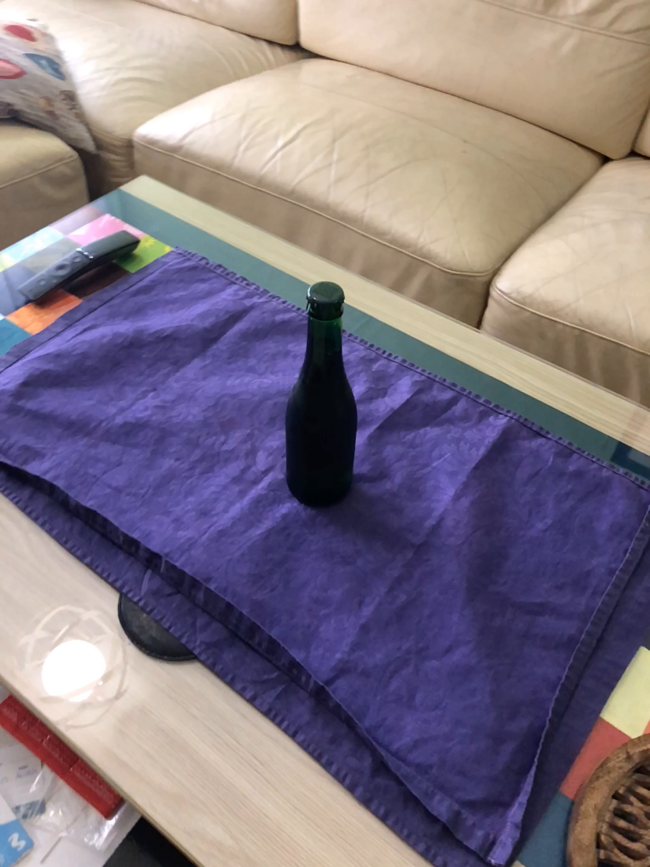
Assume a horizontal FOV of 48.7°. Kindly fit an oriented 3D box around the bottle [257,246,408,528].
[{"bbox_3d":[0.001,-0.028,0.578,0.080,0.219,0.070,-24,53,-22],"label":"bottle"}]
